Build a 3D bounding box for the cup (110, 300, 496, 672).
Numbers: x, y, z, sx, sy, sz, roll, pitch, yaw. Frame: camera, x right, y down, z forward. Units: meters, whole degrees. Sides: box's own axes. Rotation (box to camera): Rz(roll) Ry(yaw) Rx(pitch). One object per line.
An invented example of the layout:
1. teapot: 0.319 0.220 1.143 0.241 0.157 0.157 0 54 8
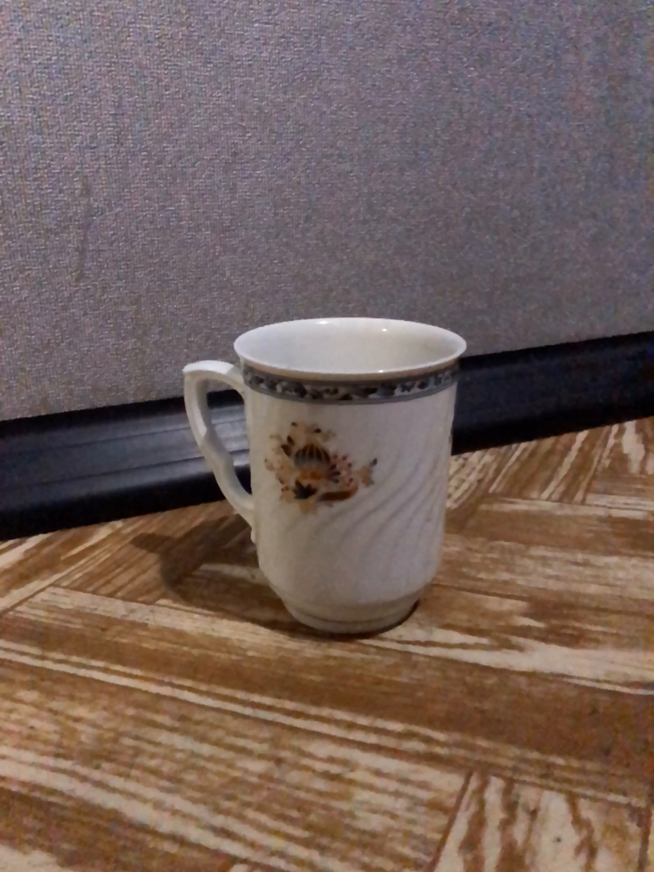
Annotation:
1. cup: -0.008 0.008 0.280 0.118 0.099 0.077 13 25 32
